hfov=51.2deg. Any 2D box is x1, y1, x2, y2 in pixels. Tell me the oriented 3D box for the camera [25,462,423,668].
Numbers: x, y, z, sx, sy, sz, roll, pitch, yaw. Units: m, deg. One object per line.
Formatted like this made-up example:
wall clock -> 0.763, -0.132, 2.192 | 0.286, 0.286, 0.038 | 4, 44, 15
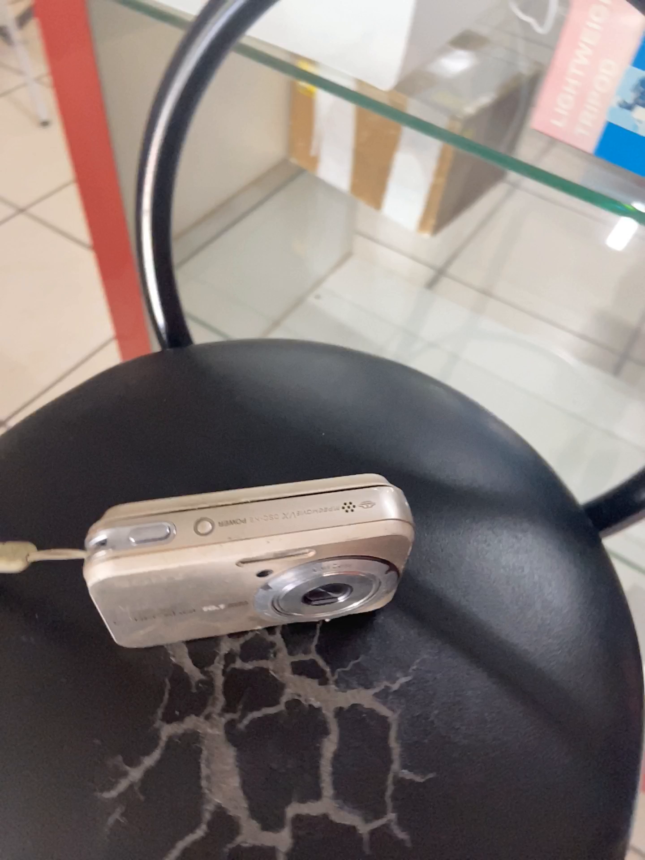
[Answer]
camera -> -0.030, 0.045, 0.220 | 0.110, 0.060, 0.030 | -5, 53, -10
